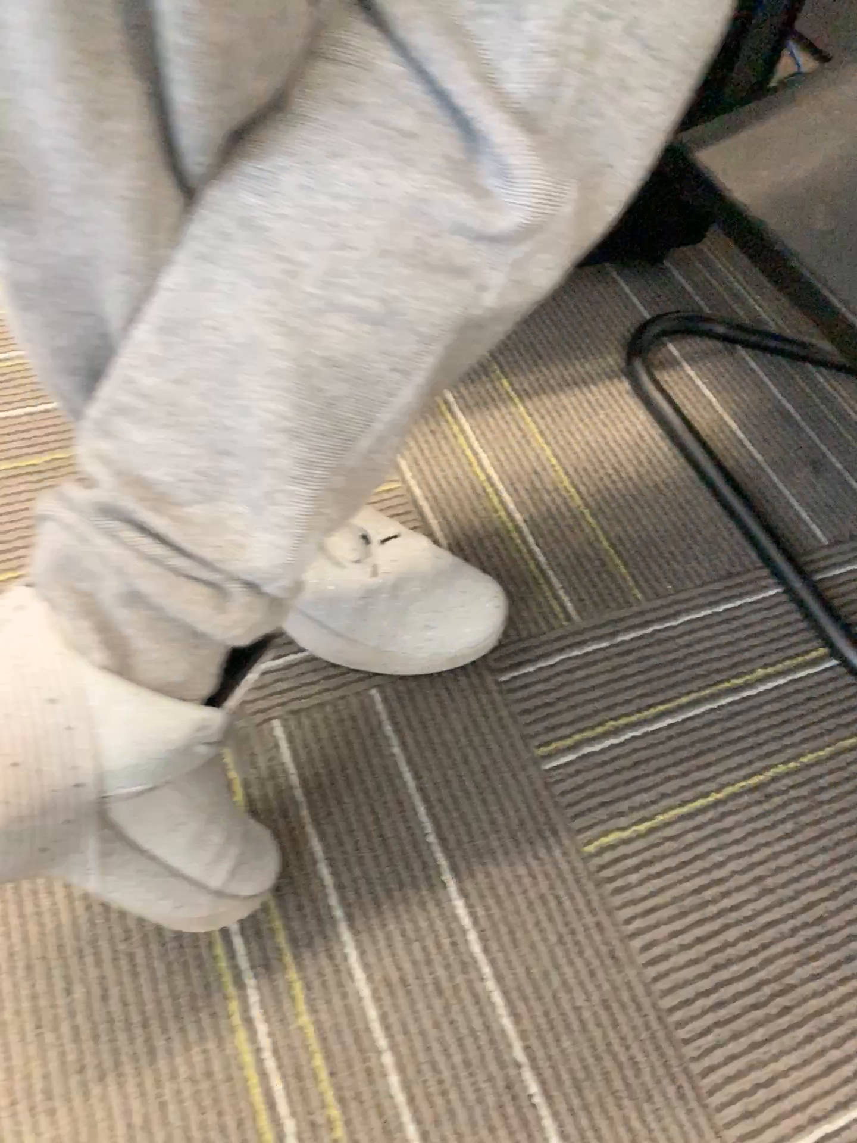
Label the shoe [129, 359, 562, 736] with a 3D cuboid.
[{"bbox_3d":[-0.065,-0.018,0.688,0.280,0.149,0.130,25,55,9],"label":"shoe"}]

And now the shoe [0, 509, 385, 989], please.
[{"bbox_3d":[-0.153,0.112,0.457,0.120,0.279,0.120,-47,56,-9],"label":"shoe"}]
